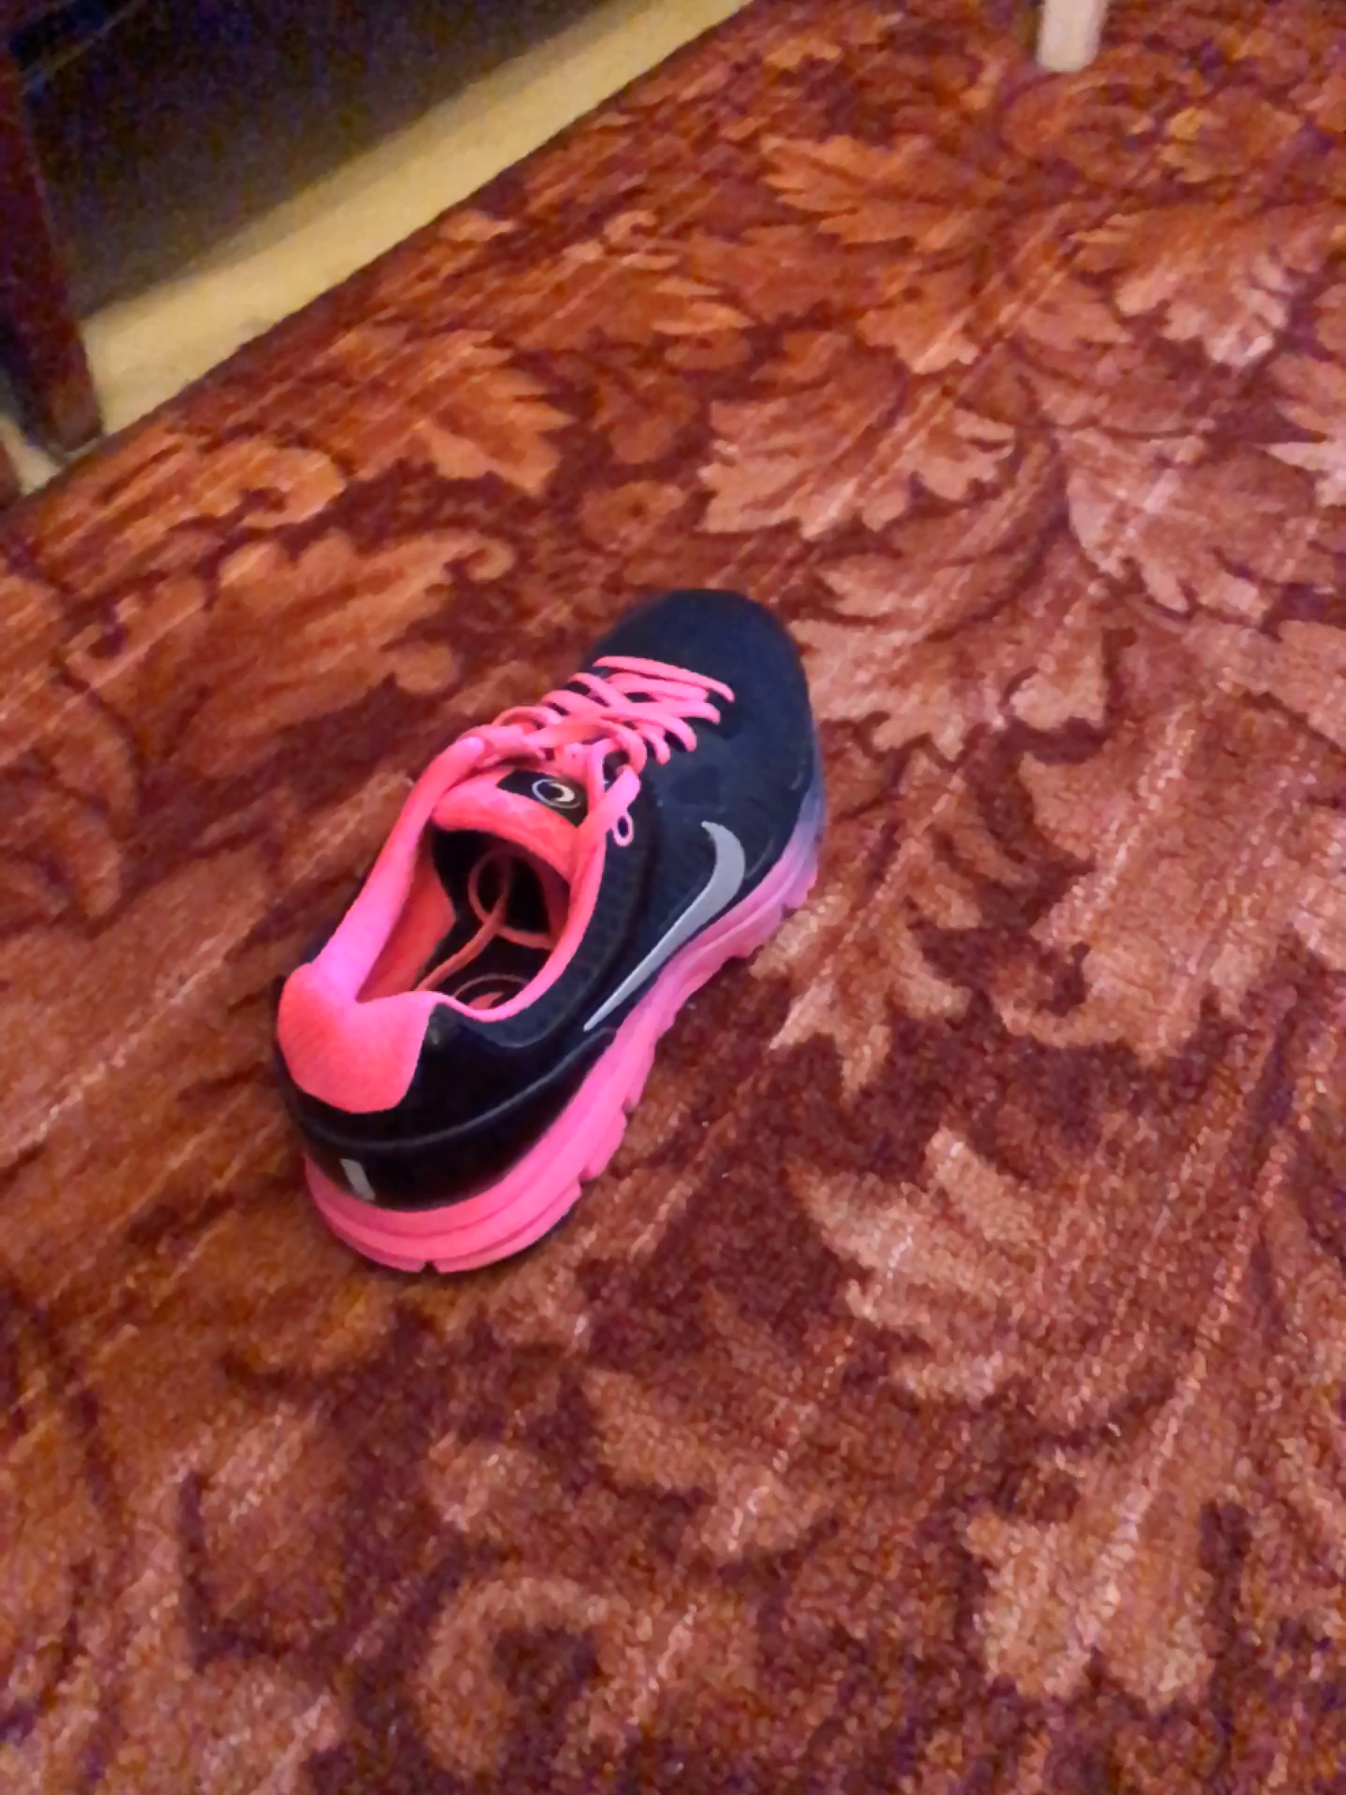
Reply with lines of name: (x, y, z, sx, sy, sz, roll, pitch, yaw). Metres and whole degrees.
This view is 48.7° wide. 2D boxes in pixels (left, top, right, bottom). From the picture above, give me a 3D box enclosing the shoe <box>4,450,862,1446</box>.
shoe: (-0.041, -0.001, 0.407, 0.100, 0.110, 0.241, 18, 53, 18)
